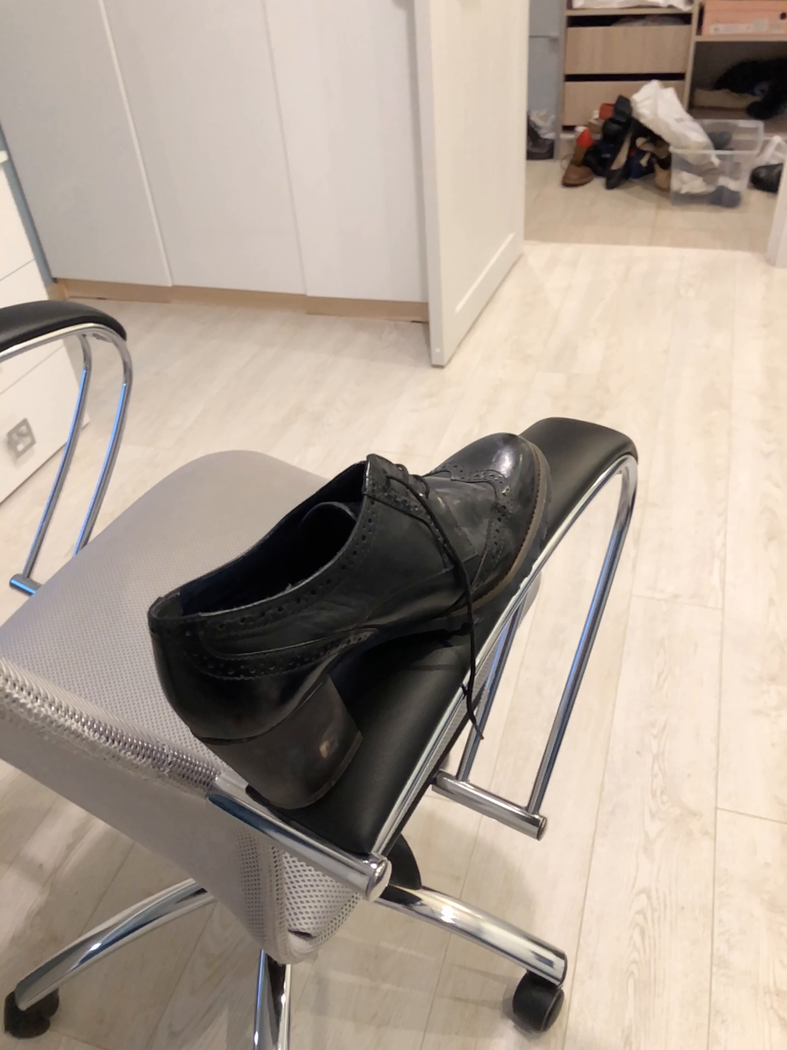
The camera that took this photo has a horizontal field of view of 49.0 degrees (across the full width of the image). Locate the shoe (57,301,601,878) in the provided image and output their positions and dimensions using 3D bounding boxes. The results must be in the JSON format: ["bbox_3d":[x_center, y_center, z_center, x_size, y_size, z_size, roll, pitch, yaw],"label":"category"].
[{"bbox_3d":[-0.009,0.016,0.422,0.100,0.119,0.251,25,56,33],"label":"shoe"}]
